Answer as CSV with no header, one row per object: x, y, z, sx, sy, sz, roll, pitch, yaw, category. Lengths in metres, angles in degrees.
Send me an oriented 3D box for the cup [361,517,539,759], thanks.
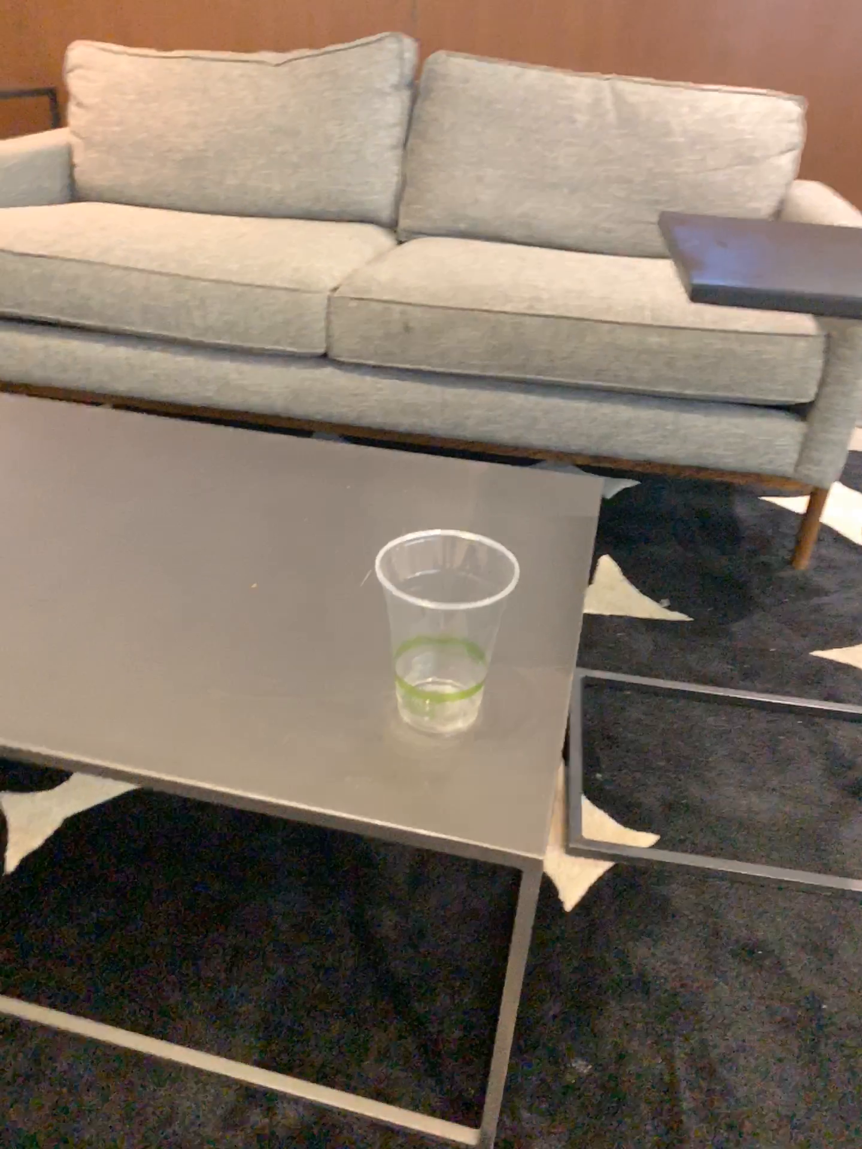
0.012,0.039,0.570,0.090,0.109,0.090,2,31,-2,cup
